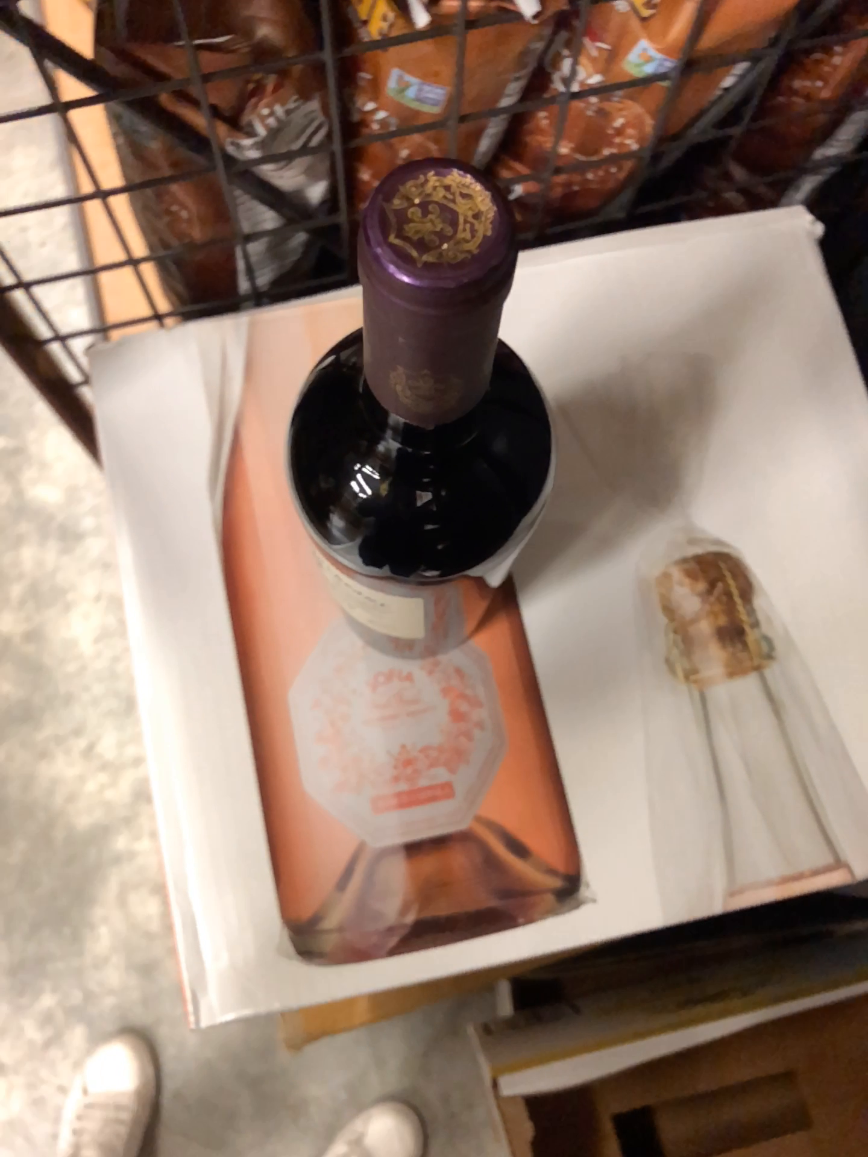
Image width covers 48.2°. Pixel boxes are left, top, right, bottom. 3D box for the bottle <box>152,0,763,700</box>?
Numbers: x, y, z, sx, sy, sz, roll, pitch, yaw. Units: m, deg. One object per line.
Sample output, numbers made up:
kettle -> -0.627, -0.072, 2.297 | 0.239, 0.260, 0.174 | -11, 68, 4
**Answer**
bottle -> -0.001, -0.032, 0.314 | 0.085, 0.291, 0.073 | -26, 78, -8
